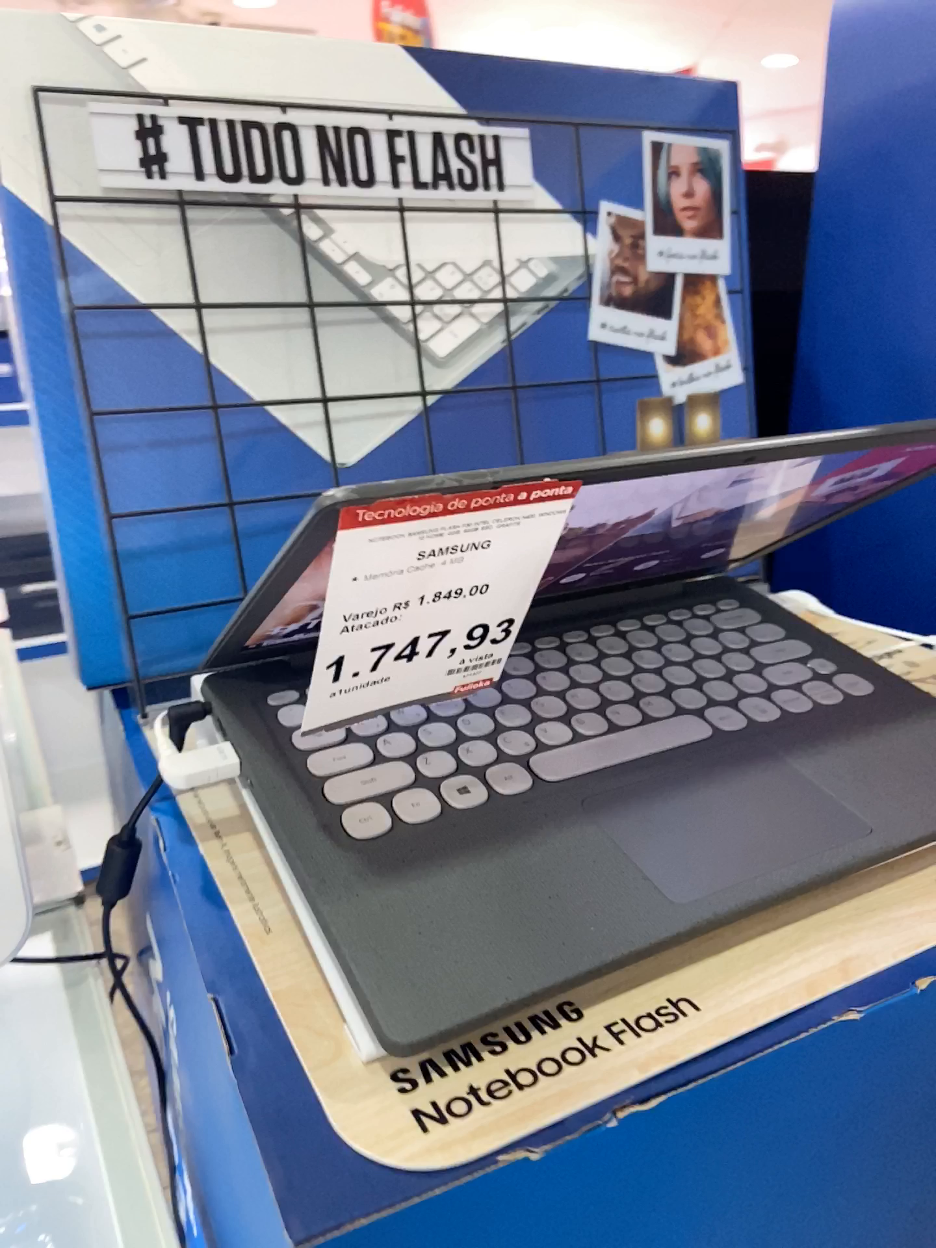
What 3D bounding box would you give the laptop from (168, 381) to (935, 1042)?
[{"bbox_3d":[0.068,-0.008,0.414,0.323,0.114,0.211,-11,30,-27],"label":"laptop"}]
